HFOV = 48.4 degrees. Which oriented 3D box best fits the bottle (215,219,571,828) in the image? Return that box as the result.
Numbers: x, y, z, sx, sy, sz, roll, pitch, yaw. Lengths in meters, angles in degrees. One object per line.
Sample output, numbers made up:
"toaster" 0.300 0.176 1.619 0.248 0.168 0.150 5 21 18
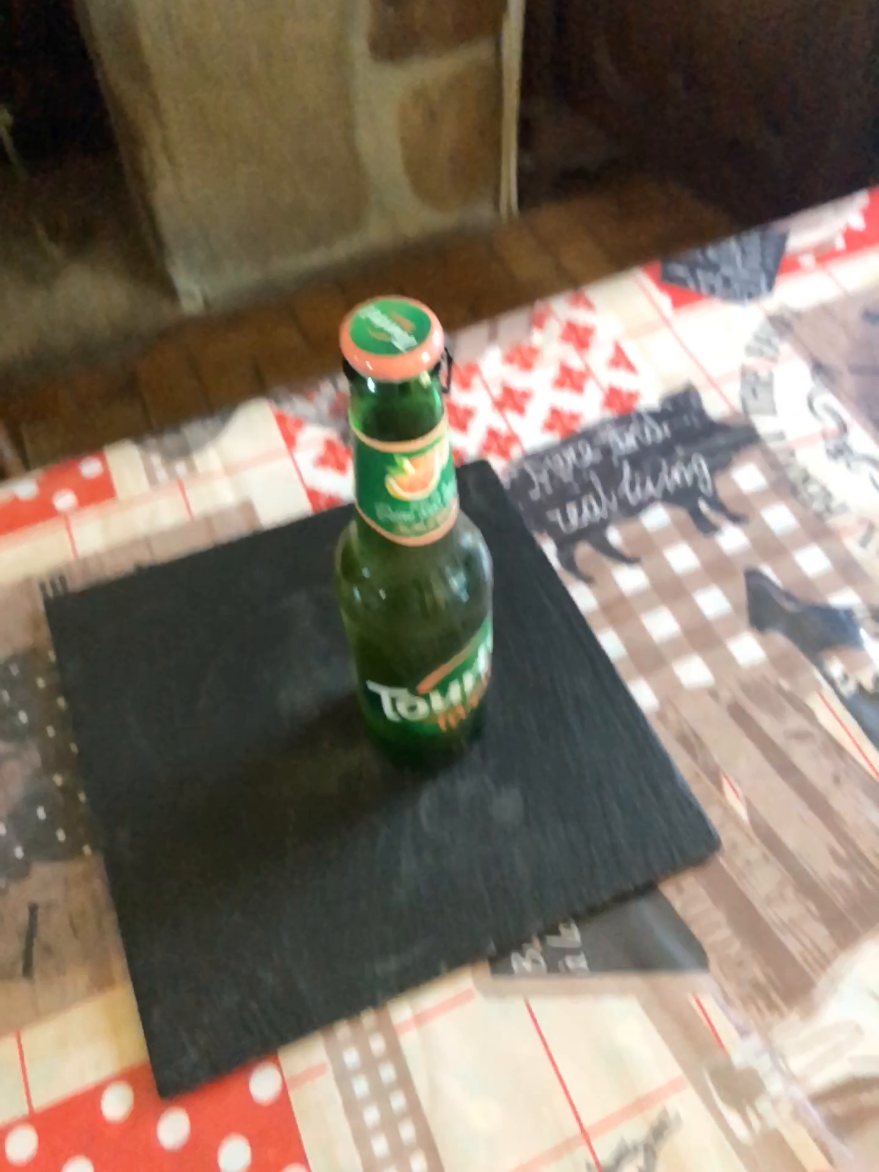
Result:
"bottle" -0.010 -0.001 0.345 0.070 0.229 0.060 -31 59 -19
